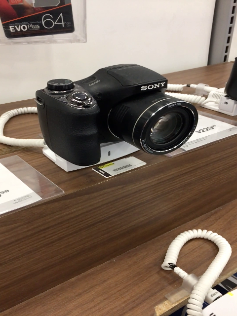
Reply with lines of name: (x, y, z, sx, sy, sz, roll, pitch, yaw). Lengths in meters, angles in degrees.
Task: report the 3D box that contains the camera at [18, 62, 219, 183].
camera: (0.000, -0.046, 0.321, 0.136, 0.072, 0.114, -23, 37, -31)
